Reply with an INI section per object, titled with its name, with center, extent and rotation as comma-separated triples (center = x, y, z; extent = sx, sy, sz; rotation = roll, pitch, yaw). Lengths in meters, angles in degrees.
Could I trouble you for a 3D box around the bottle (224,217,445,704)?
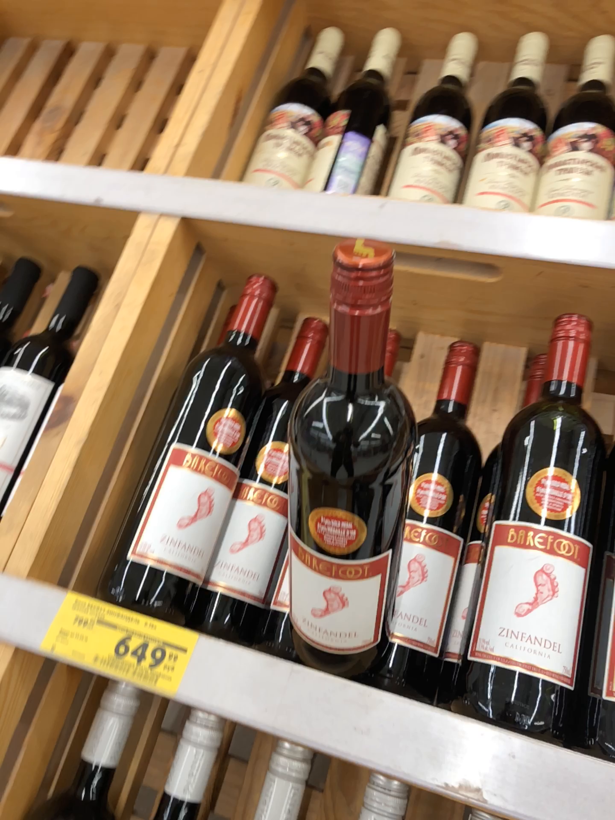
[bottle]
center = 0.020, 0.046, 0.393
extent = 0.080, 0.288, 0.080
rotation = -2, 37, 1
